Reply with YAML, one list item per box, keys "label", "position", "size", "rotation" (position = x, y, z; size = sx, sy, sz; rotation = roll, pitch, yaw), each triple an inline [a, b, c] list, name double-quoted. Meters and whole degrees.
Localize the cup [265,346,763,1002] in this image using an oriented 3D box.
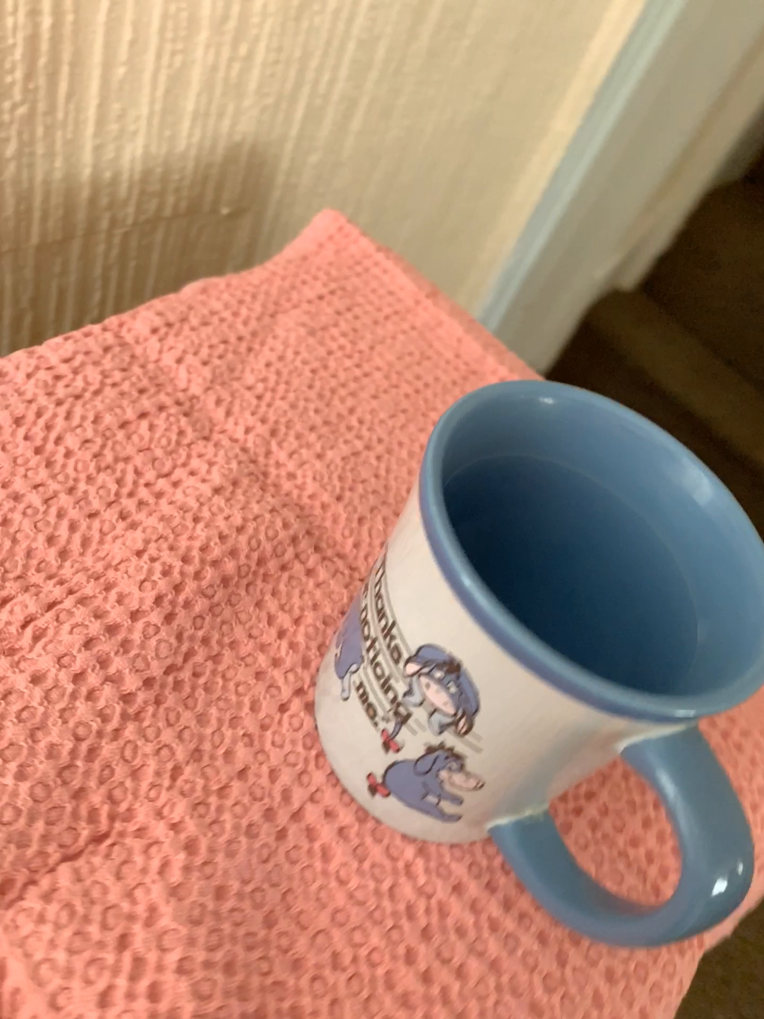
- label: "cup"
  position: [0.039, 0.037, 0.198]
  size: [0.090, 0.099, 0.111]
  rotation: [-3, 53, -28]
